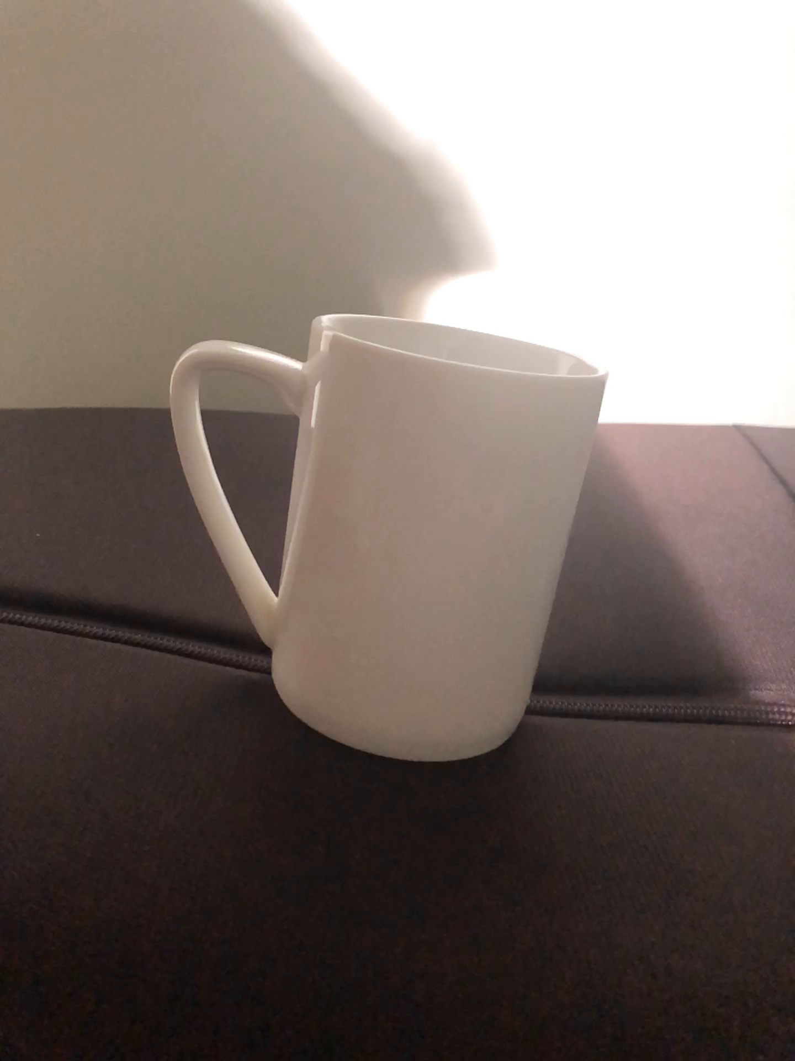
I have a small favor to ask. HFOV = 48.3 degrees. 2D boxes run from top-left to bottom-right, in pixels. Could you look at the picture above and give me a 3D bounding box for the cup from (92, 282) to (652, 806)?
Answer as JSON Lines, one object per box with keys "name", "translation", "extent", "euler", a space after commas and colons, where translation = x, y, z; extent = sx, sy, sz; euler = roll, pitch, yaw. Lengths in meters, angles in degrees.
{"name": "cup", "translation": [-0.001, -0.009, 0.234], "extent": [0.108, 0.090, 0.097], "euler": [15, 17, 15]}
